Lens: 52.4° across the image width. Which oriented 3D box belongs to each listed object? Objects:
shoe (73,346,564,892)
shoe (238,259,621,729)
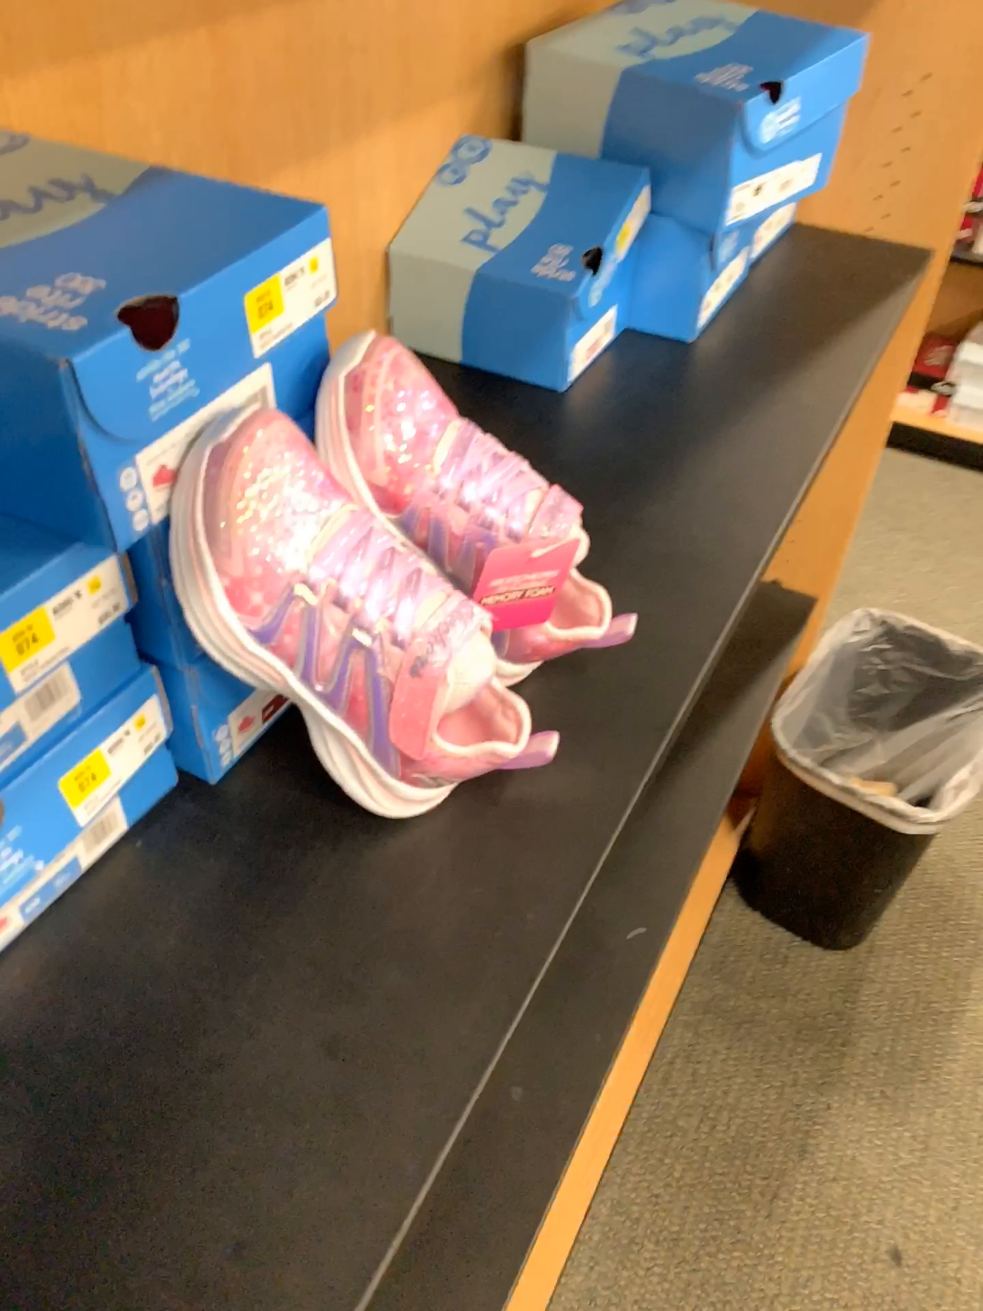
[{"bbox_3d":[-0.055,-0.007,0.414,0.080,0.209,0.090,5,48,34],"label":"shoe"},{"bbox_3d":[-0.016,-0.066,0.475,0.080,0.199,0.090,2,48,31],"label":"shoe"}]
